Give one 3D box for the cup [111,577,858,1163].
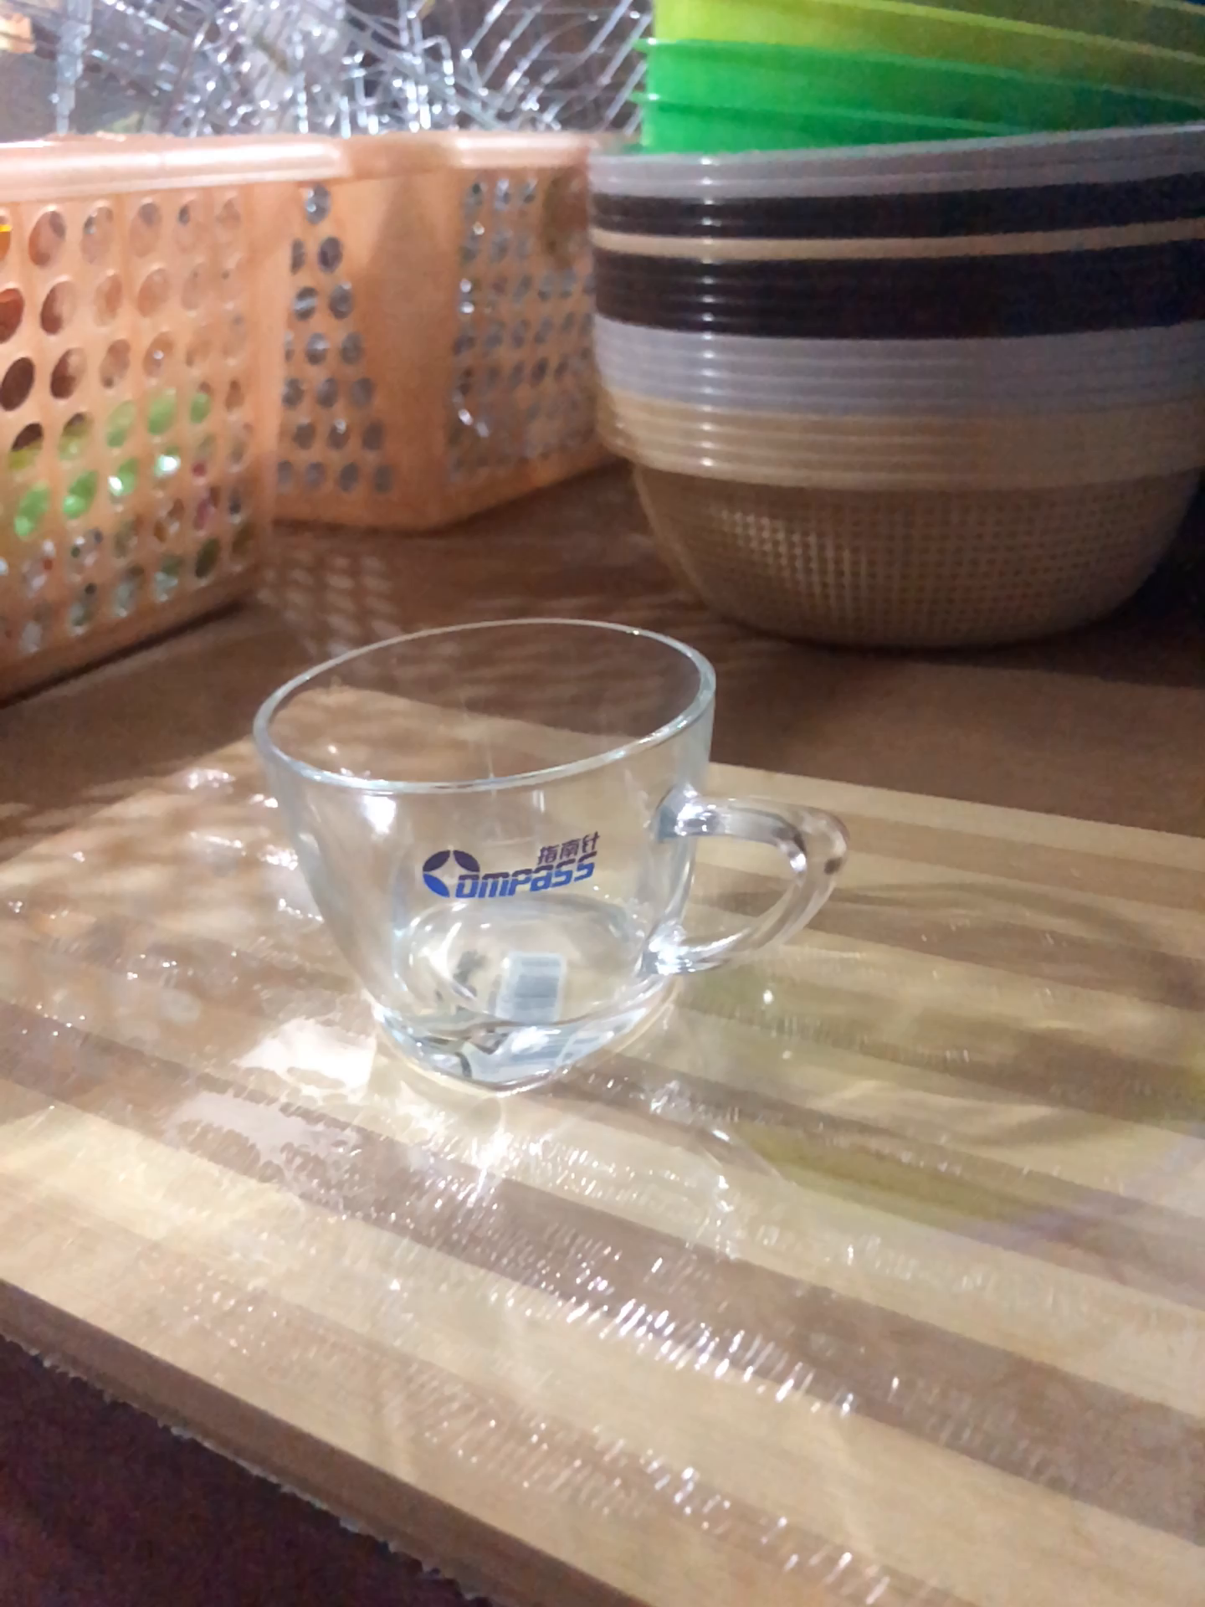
[{"bbox_3d":[-0.019,0.003,0.245,0.110,0.060,0.070,13,30,33],"label":"cup"}]
